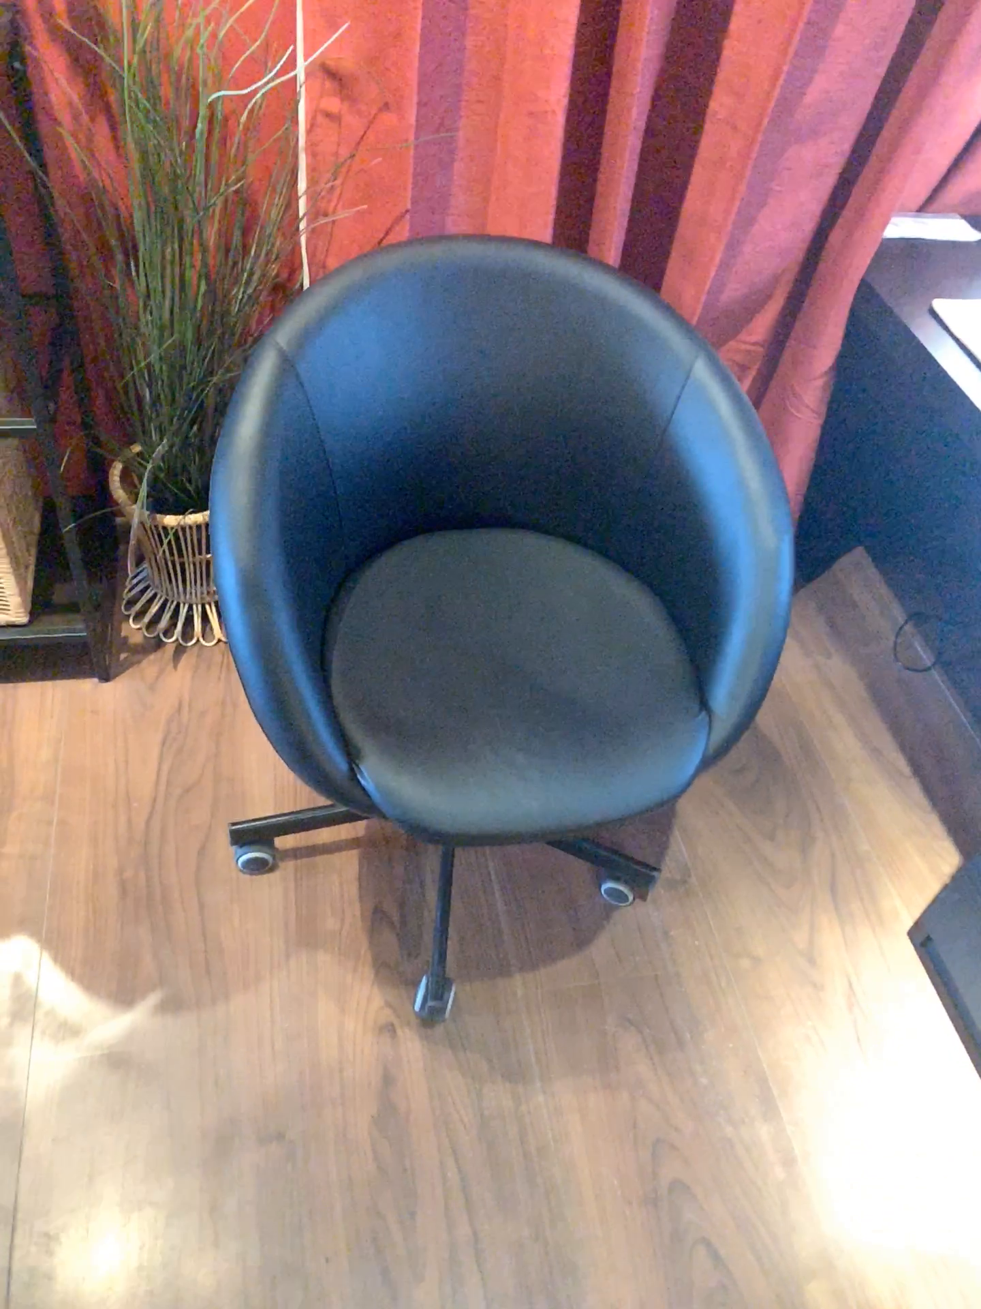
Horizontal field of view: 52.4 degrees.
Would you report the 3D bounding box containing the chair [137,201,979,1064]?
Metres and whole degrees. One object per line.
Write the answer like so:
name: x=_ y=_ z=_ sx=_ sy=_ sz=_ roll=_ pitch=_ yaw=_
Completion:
chair: x=-0.039 y=-0.026 z=1.247 sx=0.670 sy=0.757 sz=0.672 roll=-5 pitch=49 yaw=-15
